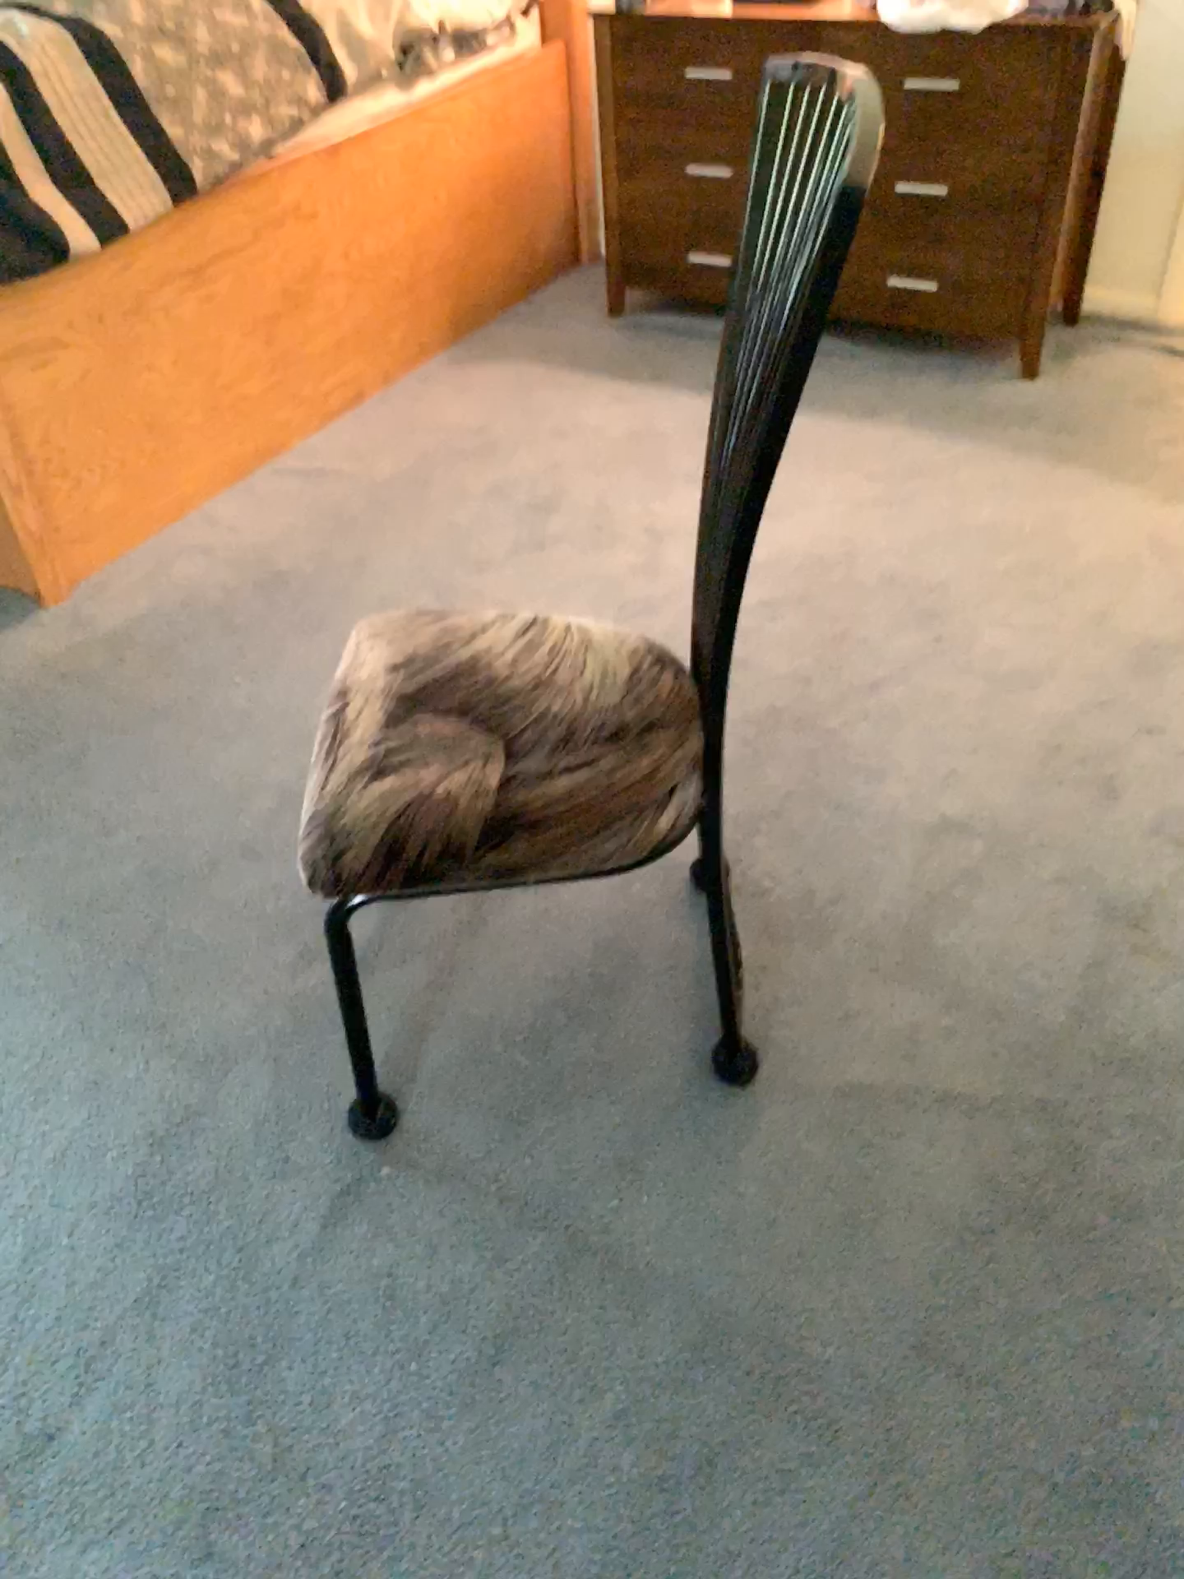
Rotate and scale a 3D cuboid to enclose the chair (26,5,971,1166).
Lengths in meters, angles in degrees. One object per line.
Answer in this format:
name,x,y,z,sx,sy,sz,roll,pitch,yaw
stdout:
chair,-0.039,-0.144,1.203,0.540,0.974,0.513,-4,41,0
